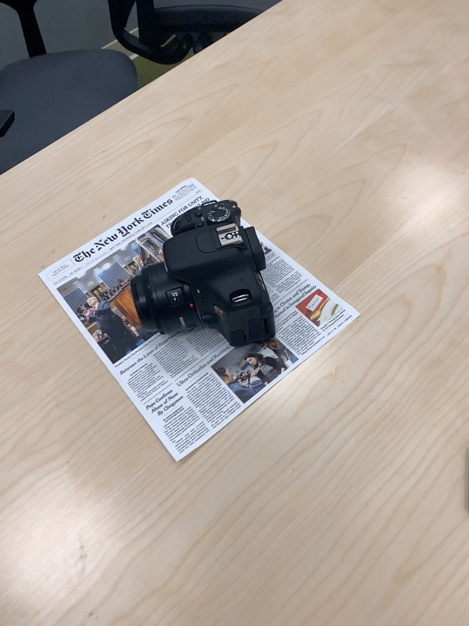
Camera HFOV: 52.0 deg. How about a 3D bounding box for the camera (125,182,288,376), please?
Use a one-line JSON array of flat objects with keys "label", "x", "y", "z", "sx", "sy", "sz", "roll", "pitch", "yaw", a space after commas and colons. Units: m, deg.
[{"label": "camera", "x": -0.025, "y": -0.031, "z": 0.456, "sx": 0.121, "sy": 0.100, "sz": 0.125, "roll": -13, "pitch": 56, "yaw": 0}]
